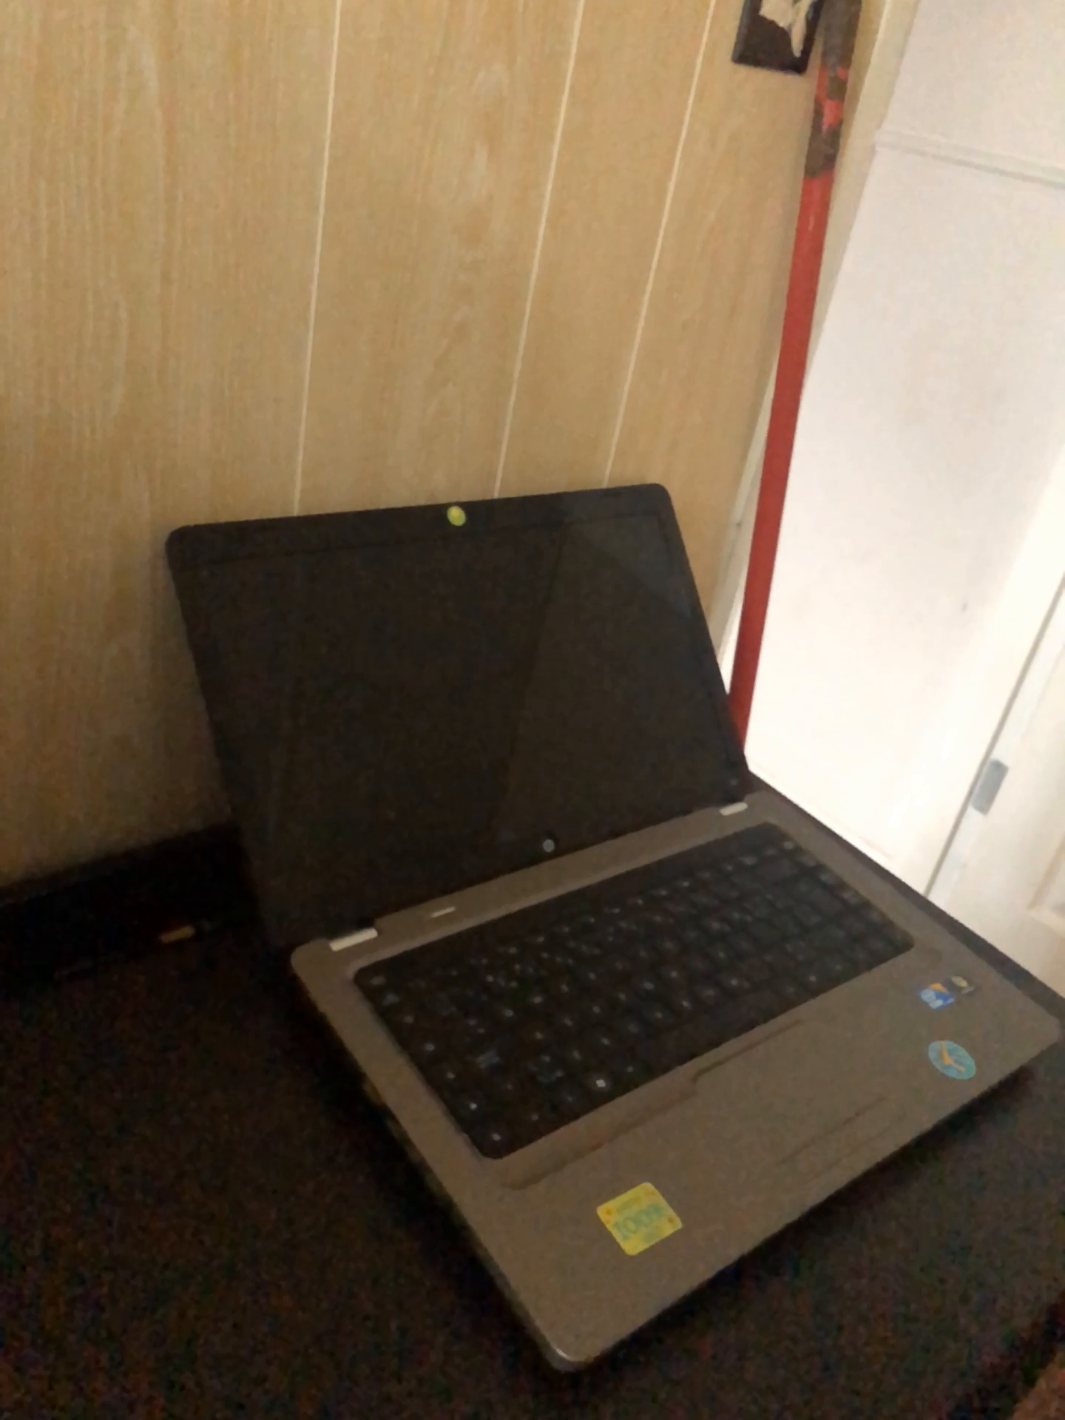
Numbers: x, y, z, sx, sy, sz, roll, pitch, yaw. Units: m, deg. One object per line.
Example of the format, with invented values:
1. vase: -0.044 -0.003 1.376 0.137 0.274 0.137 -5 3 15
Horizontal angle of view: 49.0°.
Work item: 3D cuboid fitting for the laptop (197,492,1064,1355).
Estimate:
1. laptop: 0.065 0.049 0.657 0.356 0.166 0.403 -13 39 -36
